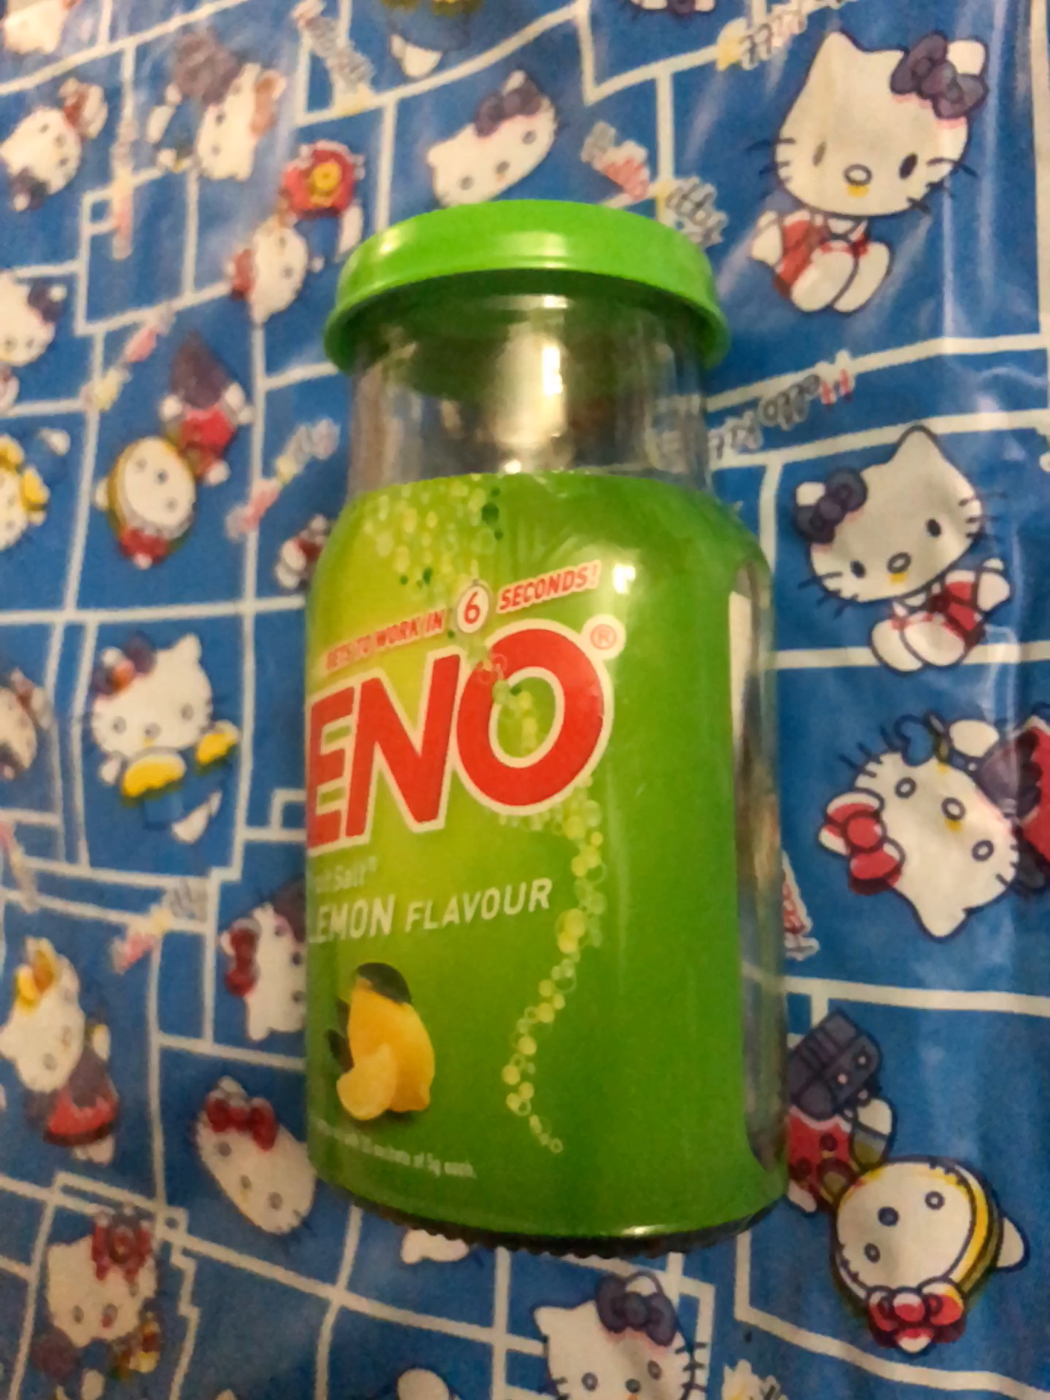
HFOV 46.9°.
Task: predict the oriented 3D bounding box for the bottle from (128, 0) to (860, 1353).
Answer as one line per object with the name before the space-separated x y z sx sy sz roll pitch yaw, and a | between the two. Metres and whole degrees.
bottle | -0.003 -0.002 0.135 0.060 0.050 0.110 -3 89 33
